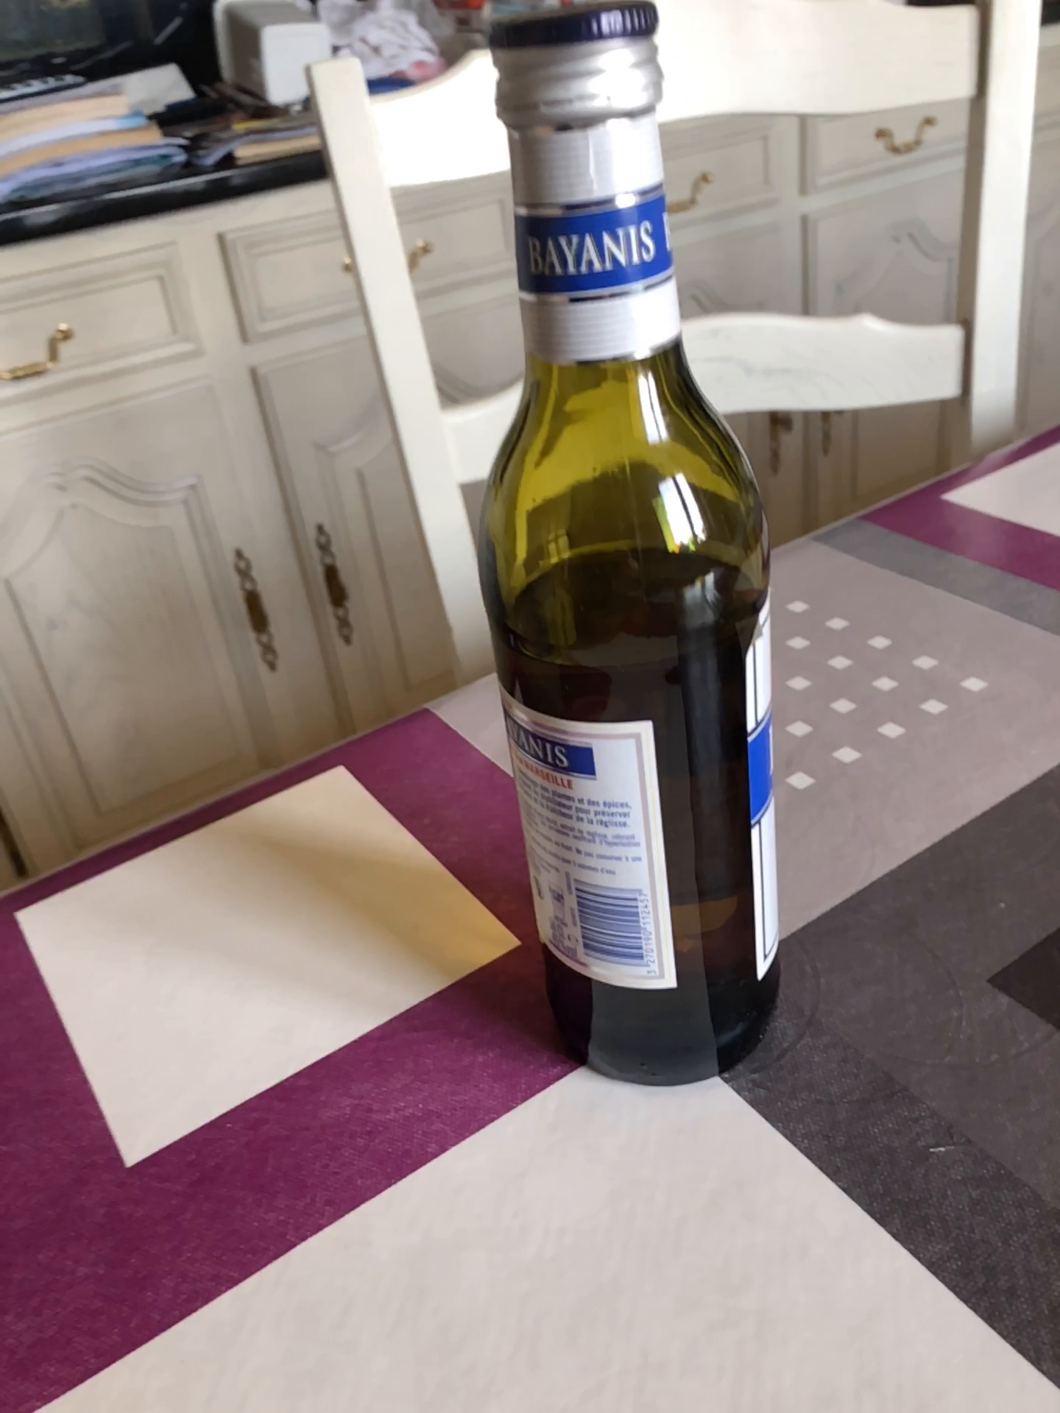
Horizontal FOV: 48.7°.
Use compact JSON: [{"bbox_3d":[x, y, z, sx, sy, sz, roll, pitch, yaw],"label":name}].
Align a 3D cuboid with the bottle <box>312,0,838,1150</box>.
[{"bbox_3d":[0.023,-0.020,0.284,0.070,0.259,0.070,-6,31,4],"label":"bottle"}]
